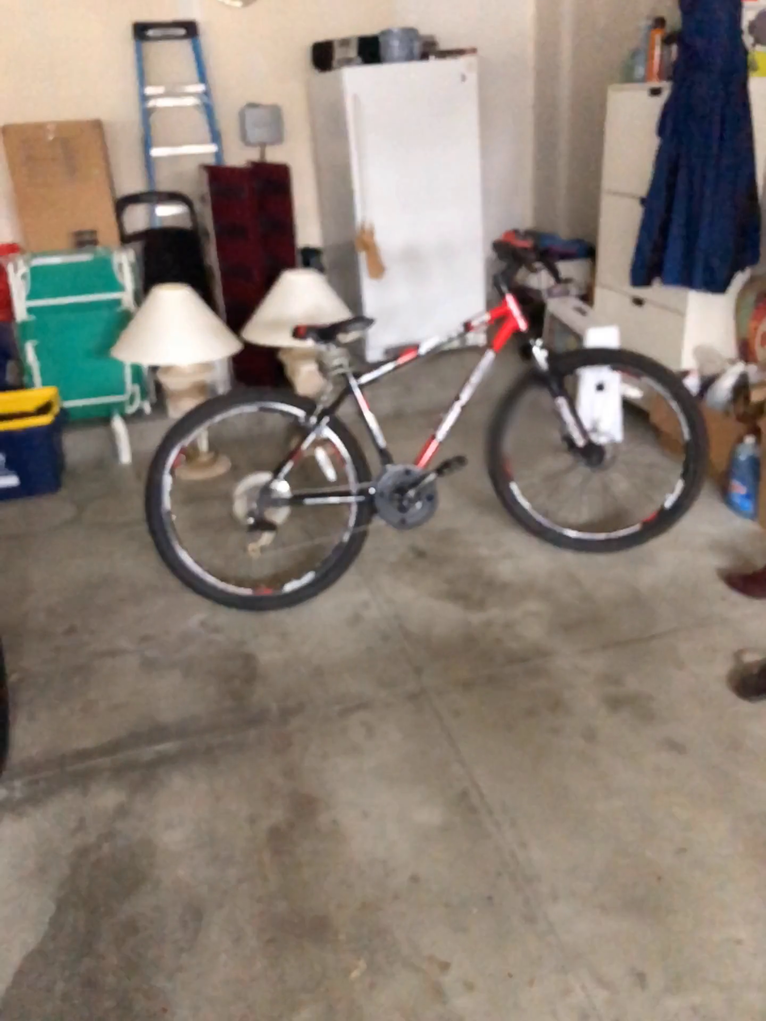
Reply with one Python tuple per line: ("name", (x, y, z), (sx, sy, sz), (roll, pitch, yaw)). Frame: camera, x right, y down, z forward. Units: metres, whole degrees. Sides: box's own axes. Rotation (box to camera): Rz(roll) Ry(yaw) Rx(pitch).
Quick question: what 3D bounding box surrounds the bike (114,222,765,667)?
("bike", (0.147, -0.226, 2.570), (1.667, 1.054, 0.592), (-6, 25, -5))
